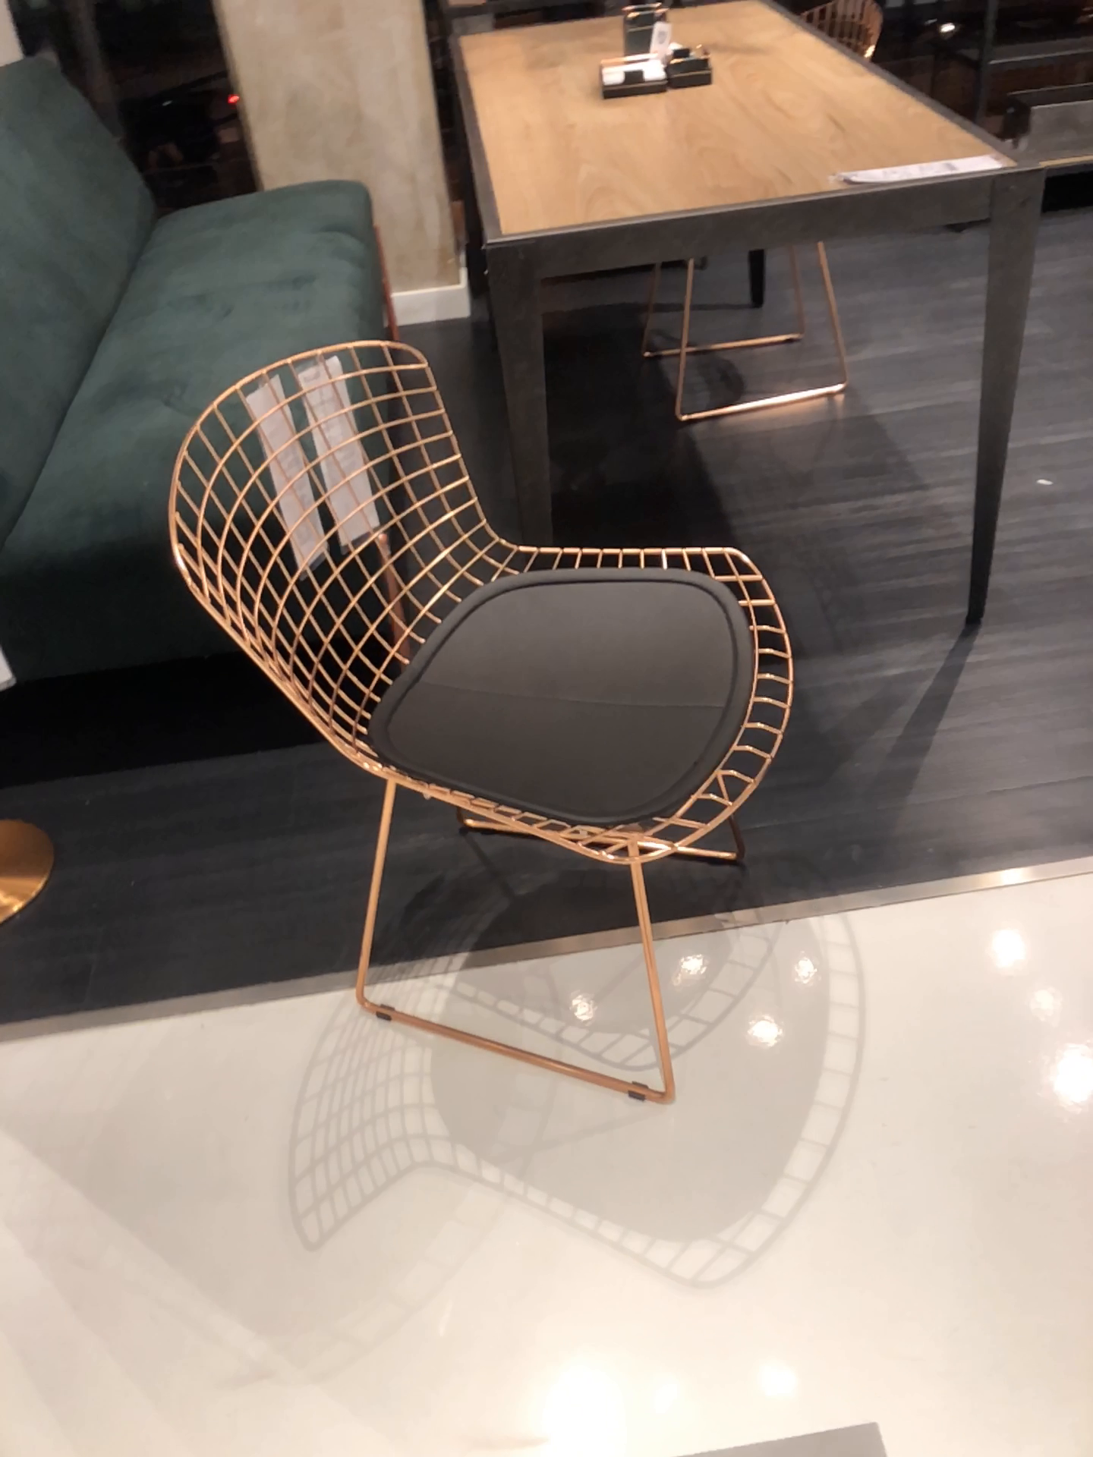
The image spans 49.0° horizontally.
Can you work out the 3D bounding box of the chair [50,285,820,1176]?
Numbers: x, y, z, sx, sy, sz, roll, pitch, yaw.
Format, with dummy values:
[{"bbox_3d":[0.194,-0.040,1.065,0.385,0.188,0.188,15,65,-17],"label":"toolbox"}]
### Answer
[{"bbox_3d":[-0.029,-0.012,1.305,0.541,0.744,0.524,7,40,17],"label":"chair"}]
